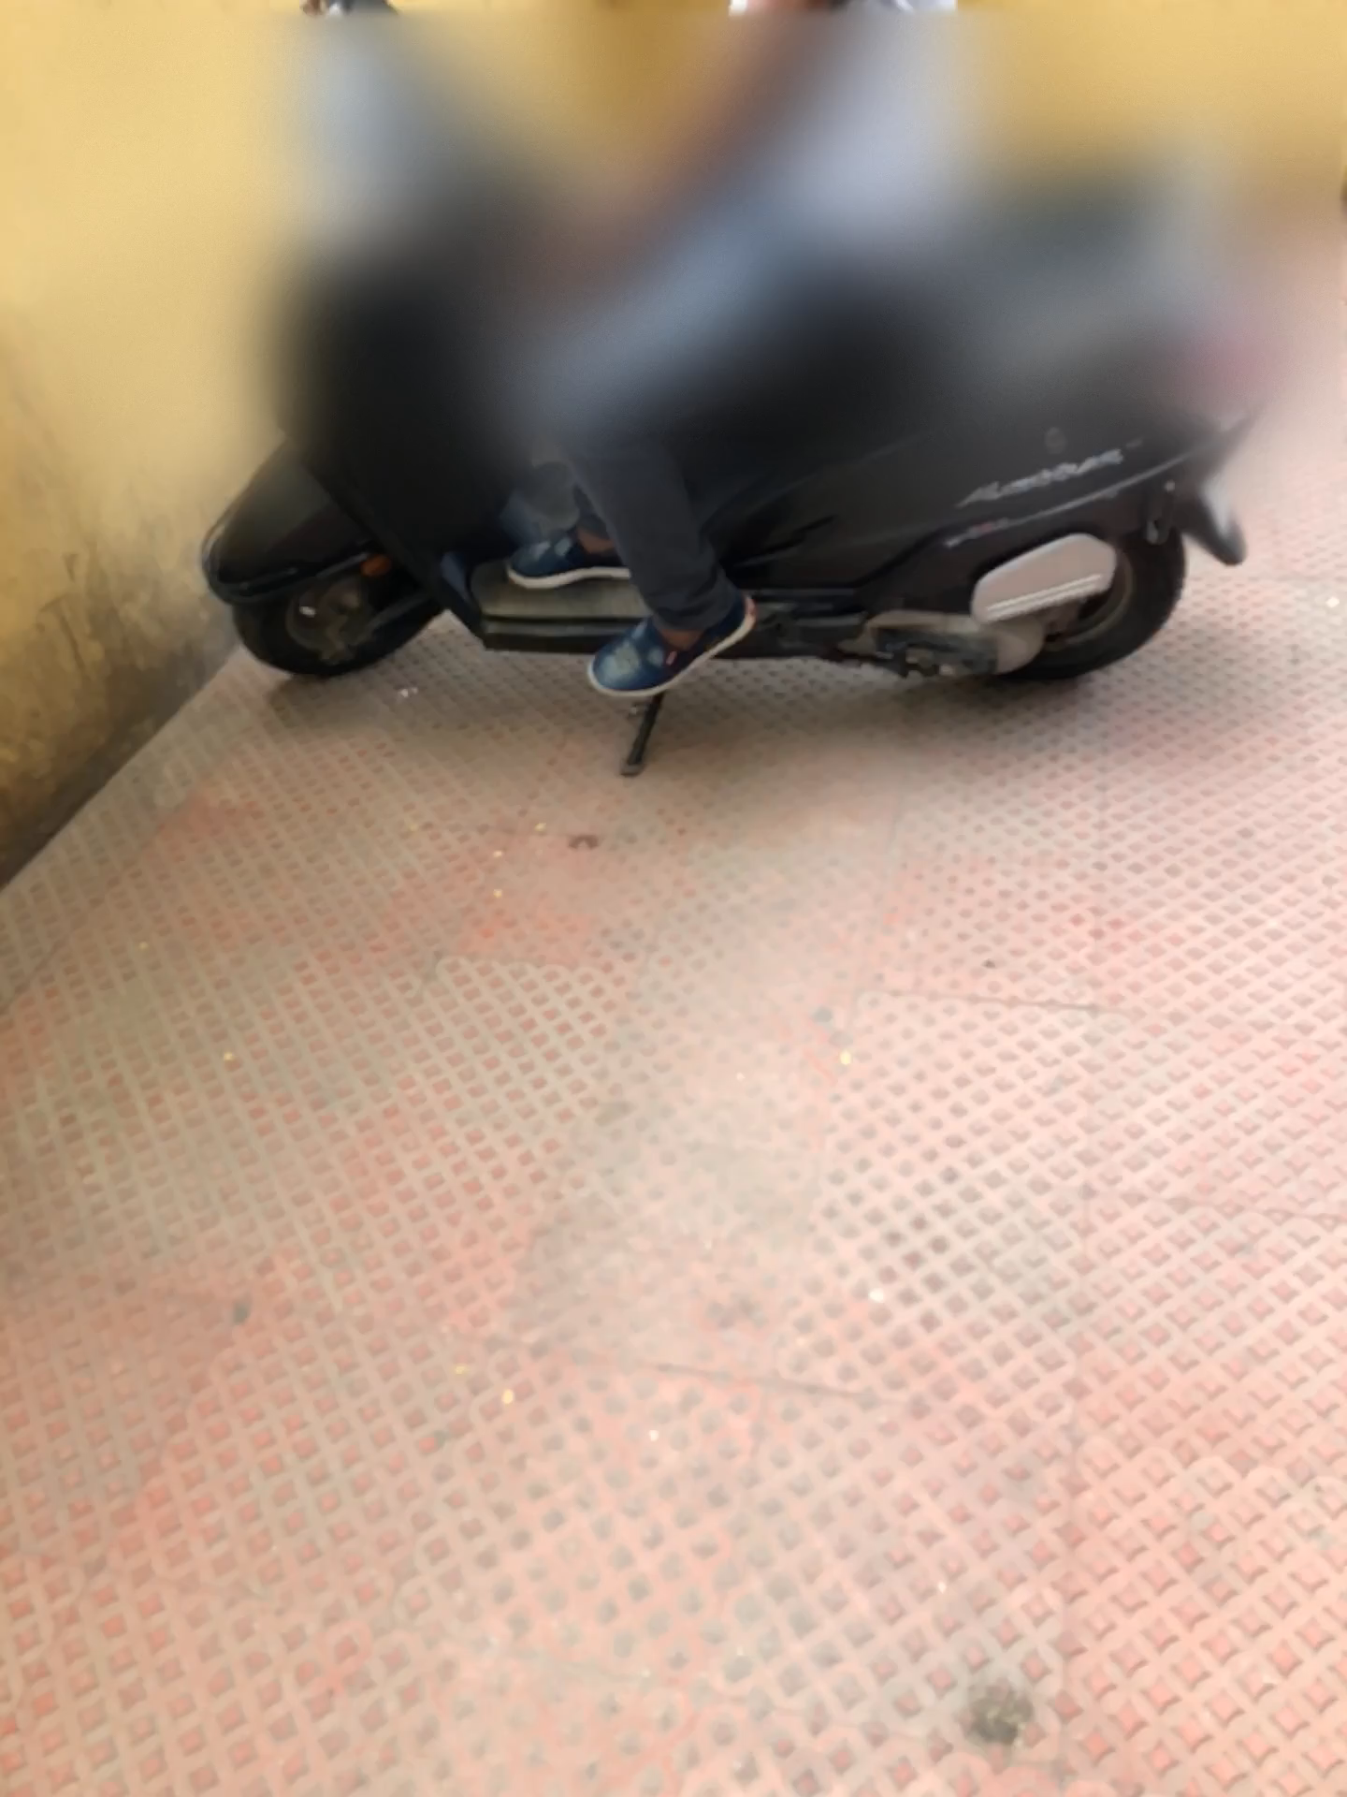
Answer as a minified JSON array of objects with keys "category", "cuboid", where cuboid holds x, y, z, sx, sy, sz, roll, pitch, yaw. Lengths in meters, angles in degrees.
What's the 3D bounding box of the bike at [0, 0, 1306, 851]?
[{"category":"bike","cuboid":[-0.038,-0.712,2.098,1.544,1.016,0.698,-1,38,12]}]
